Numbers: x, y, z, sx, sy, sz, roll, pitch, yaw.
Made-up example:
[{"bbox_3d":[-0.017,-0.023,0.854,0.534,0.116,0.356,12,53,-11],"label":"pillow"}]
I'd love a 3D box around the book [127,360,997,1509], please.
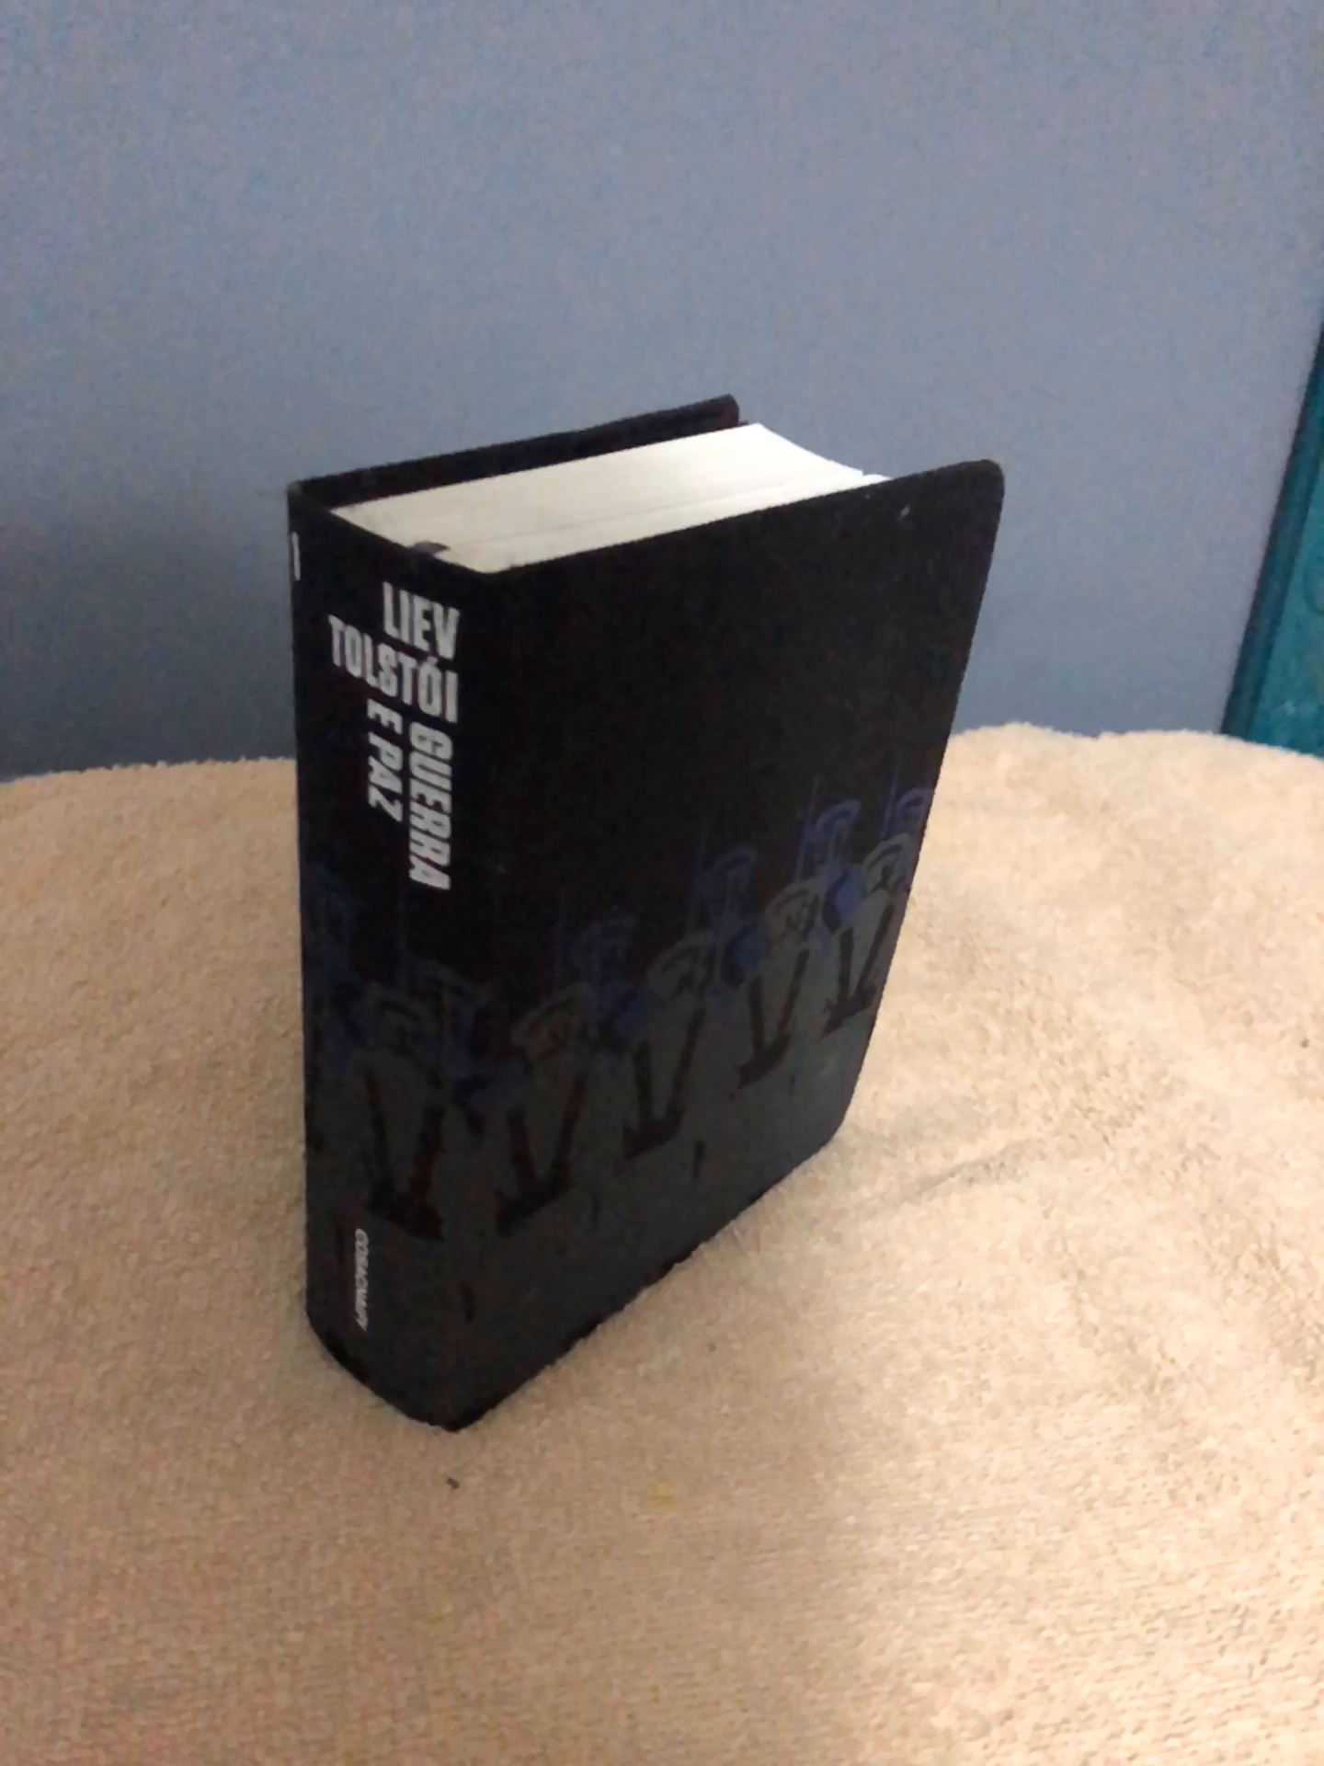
[{"bbox_3d":[-0.014,0.002,0.295,0.060,0.179,0.151,27,37,32],"label":"book"}]
